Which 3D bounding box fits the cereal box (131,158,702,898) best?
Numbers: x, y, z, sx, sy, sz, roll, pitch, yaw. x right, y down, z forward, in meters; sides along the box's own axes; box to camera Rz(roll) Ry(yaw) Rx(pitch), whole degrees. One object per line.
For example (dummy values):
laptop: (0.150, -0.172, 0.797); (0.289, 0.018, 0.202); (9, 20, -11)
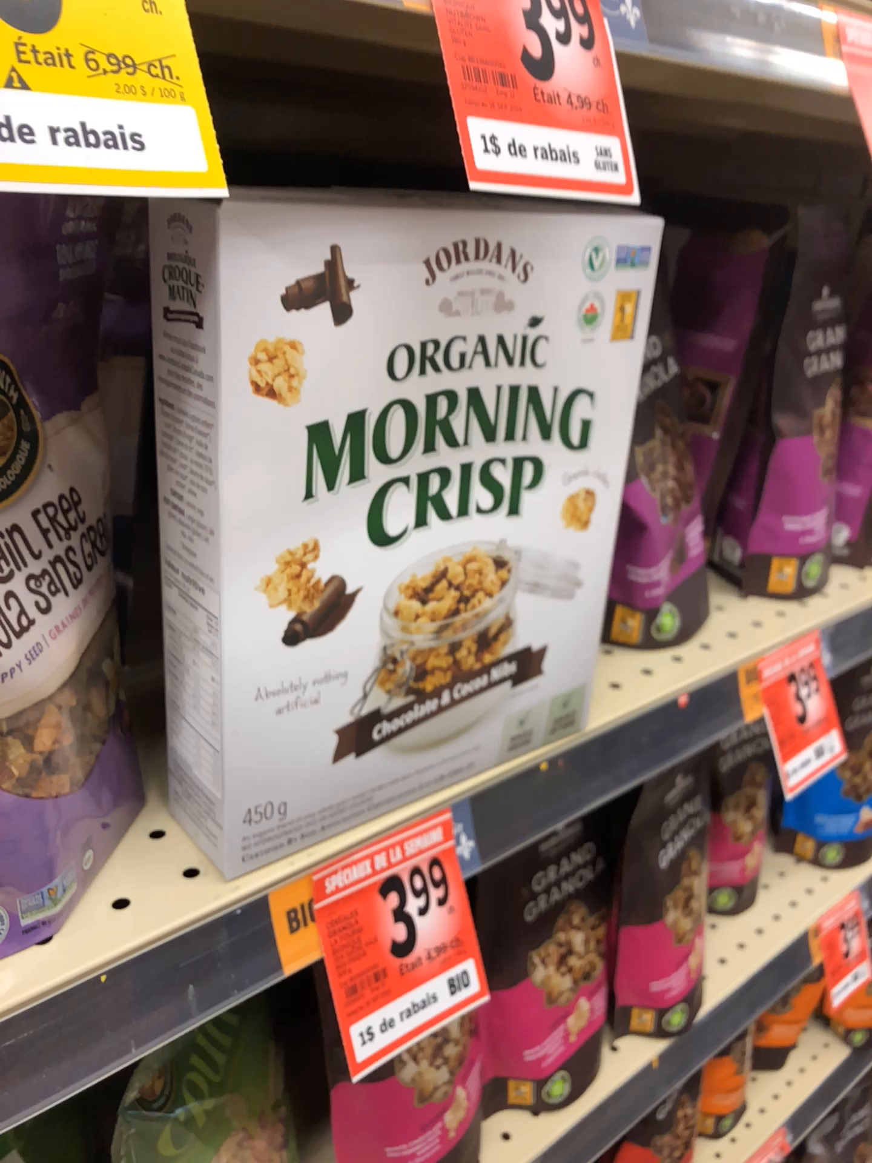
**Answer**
cereal box: (-0.002, -0.025, 0.334); (0.180, 0.209, 0.050); (-14, 29, -37)
